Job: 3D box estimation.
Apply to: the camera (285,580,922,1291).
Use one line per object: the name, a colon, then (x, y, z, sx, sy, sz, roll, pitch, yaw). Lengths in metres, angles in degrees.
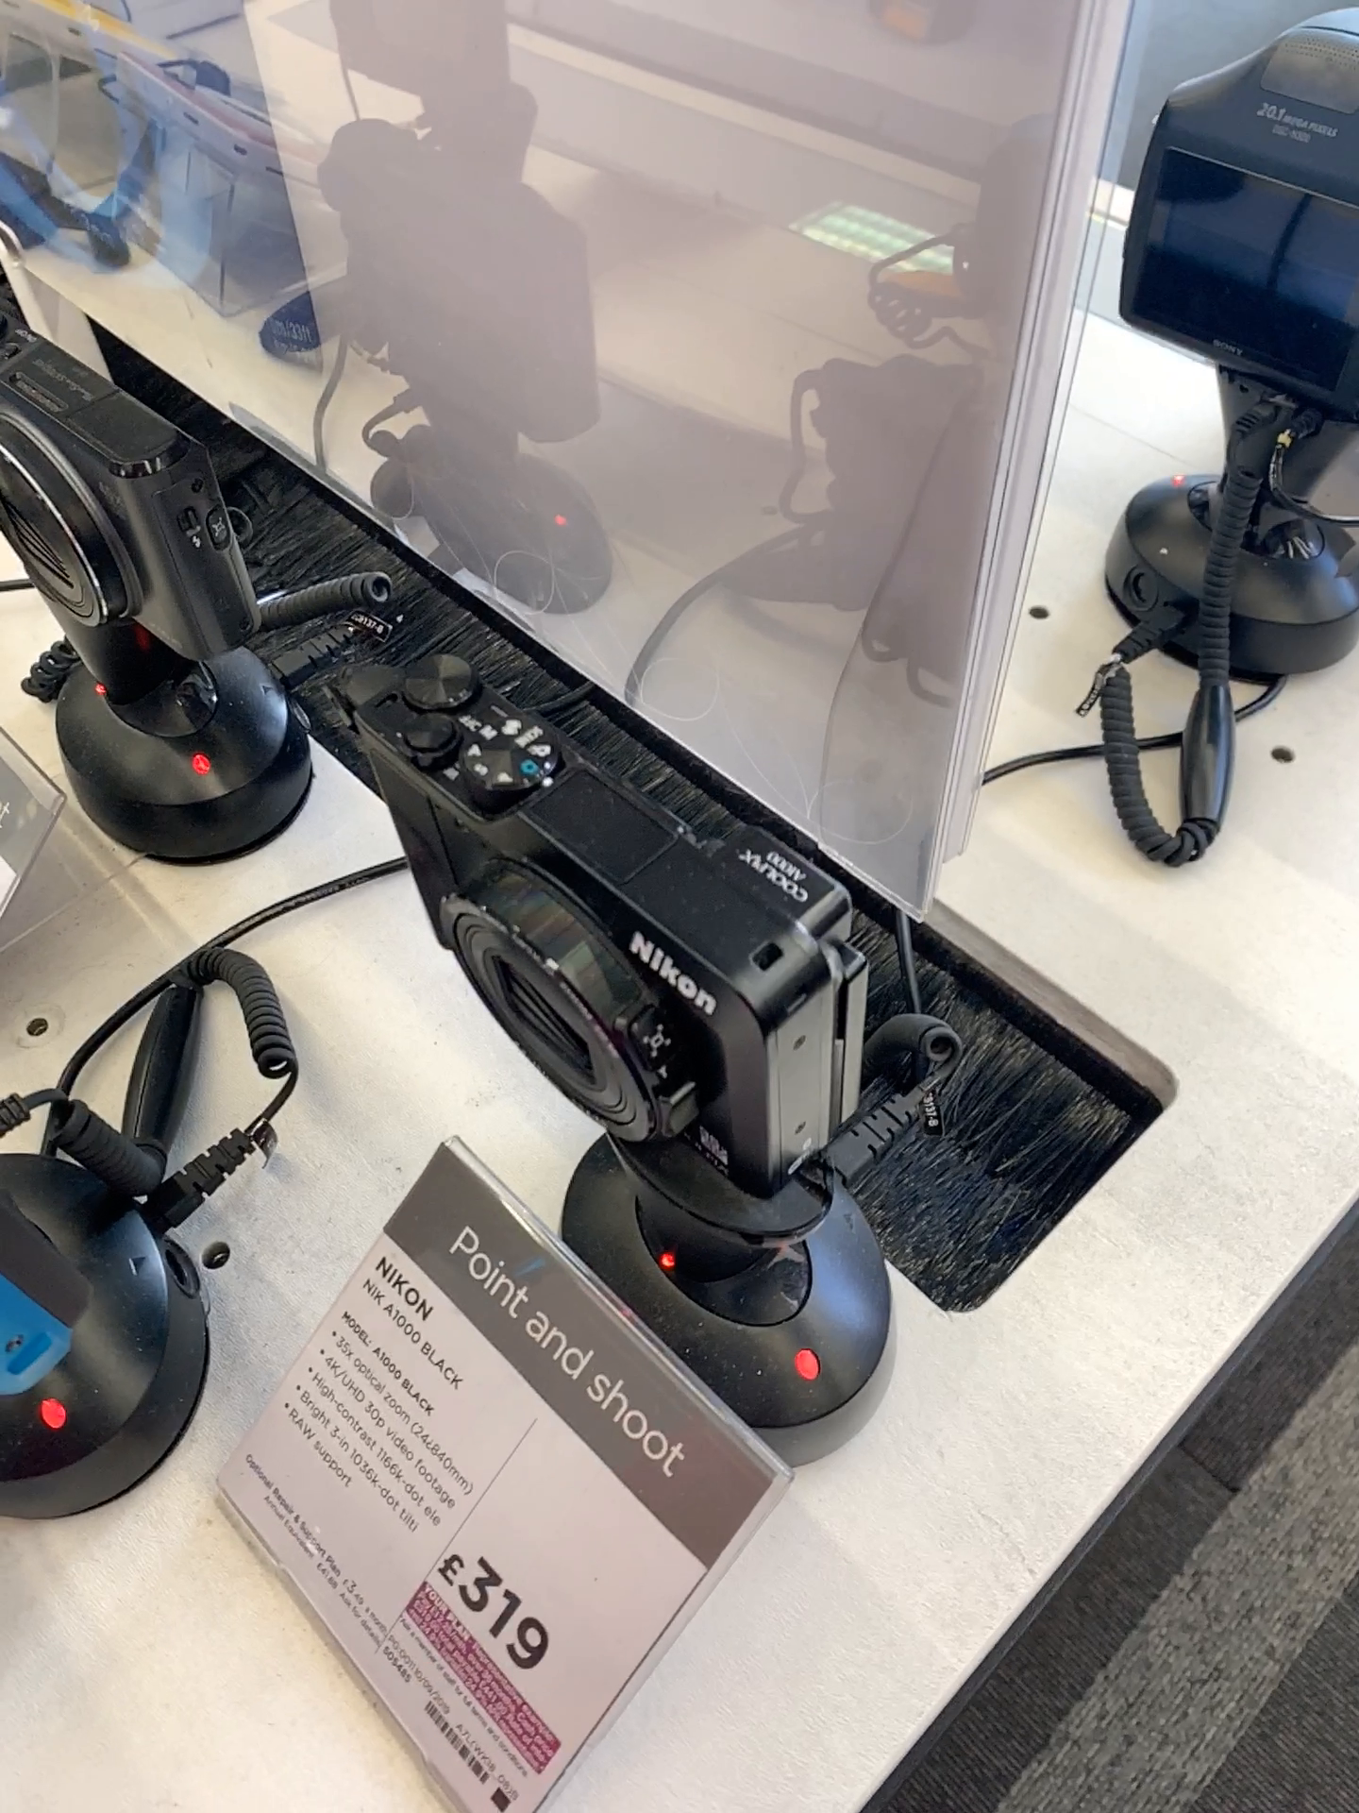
camera: (-0.016, 0.005, 0.258, 0.030, 0.079, 0.121, -39, 61, -24)
